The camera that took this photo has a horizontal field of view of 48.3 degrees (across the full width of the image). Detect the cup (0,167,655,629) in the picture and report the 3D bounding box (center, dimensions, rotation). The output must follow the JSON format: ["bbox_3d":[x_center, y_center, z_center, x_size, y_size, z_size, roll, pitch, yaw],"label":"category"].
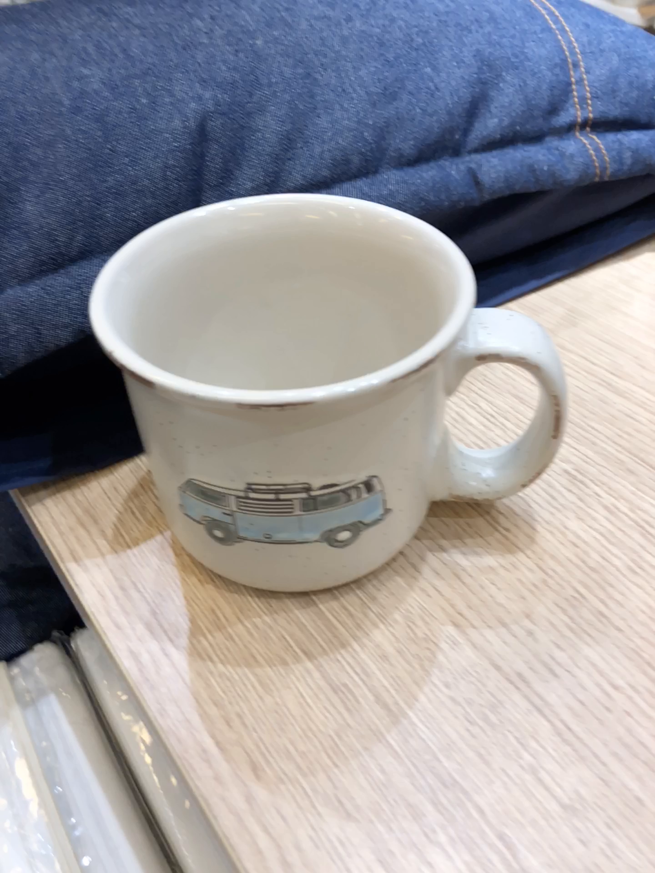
[{"bbox_3d":[0.004,-0.015,0.220,0.140,0.089,0.101,3,43,5],"label":"cup"}]
